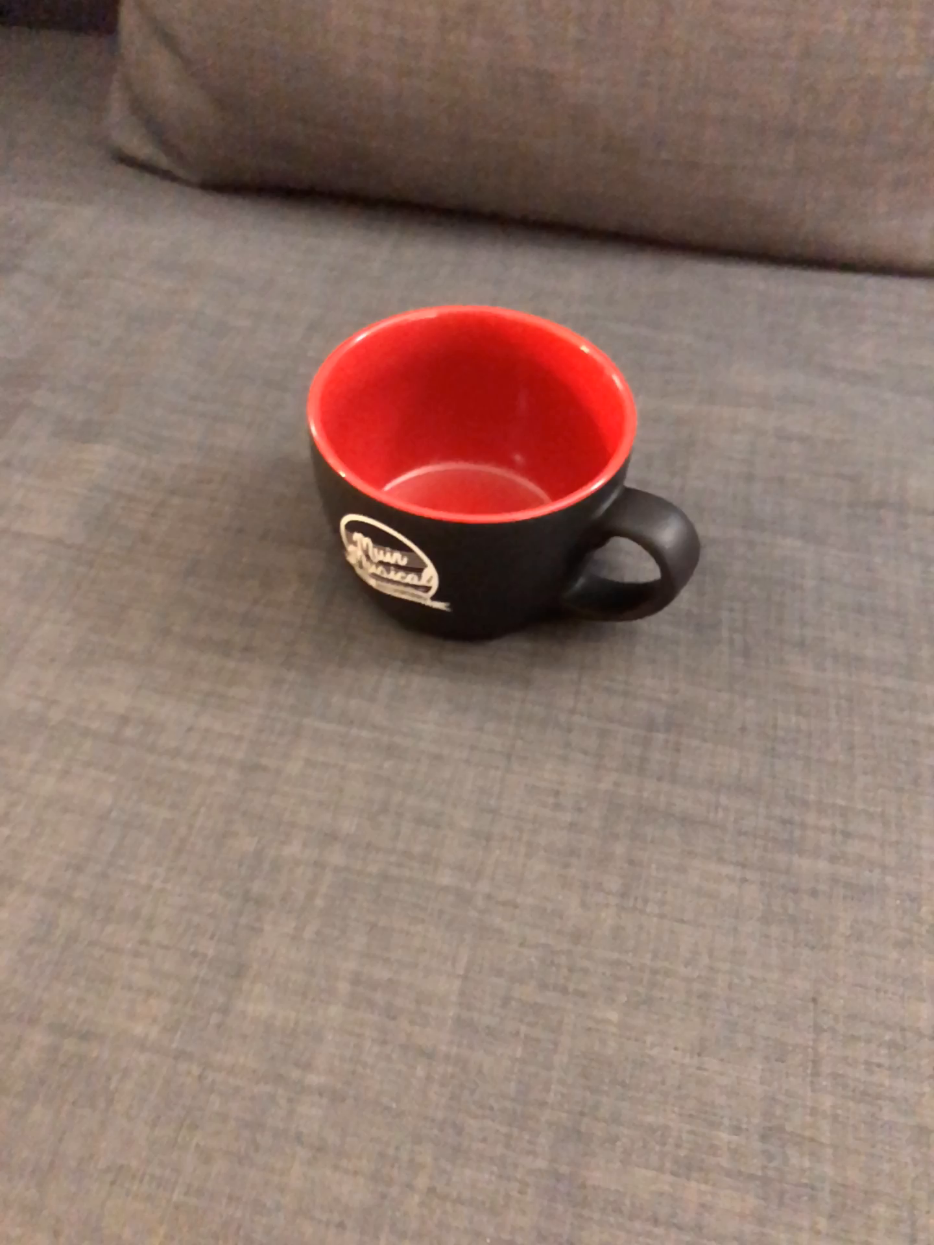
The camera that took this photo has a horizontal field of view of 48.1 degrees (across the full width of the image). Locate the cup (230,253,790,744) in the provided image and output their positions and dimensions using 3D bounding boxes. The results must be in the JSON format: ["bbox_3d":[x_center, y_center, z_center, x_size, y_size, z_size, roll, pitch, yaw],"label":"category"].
[{"bbox_3d":[0.016,-0.055,0.402,0.160,0.080,0.120,27,54,20],"label":"cup"}]
